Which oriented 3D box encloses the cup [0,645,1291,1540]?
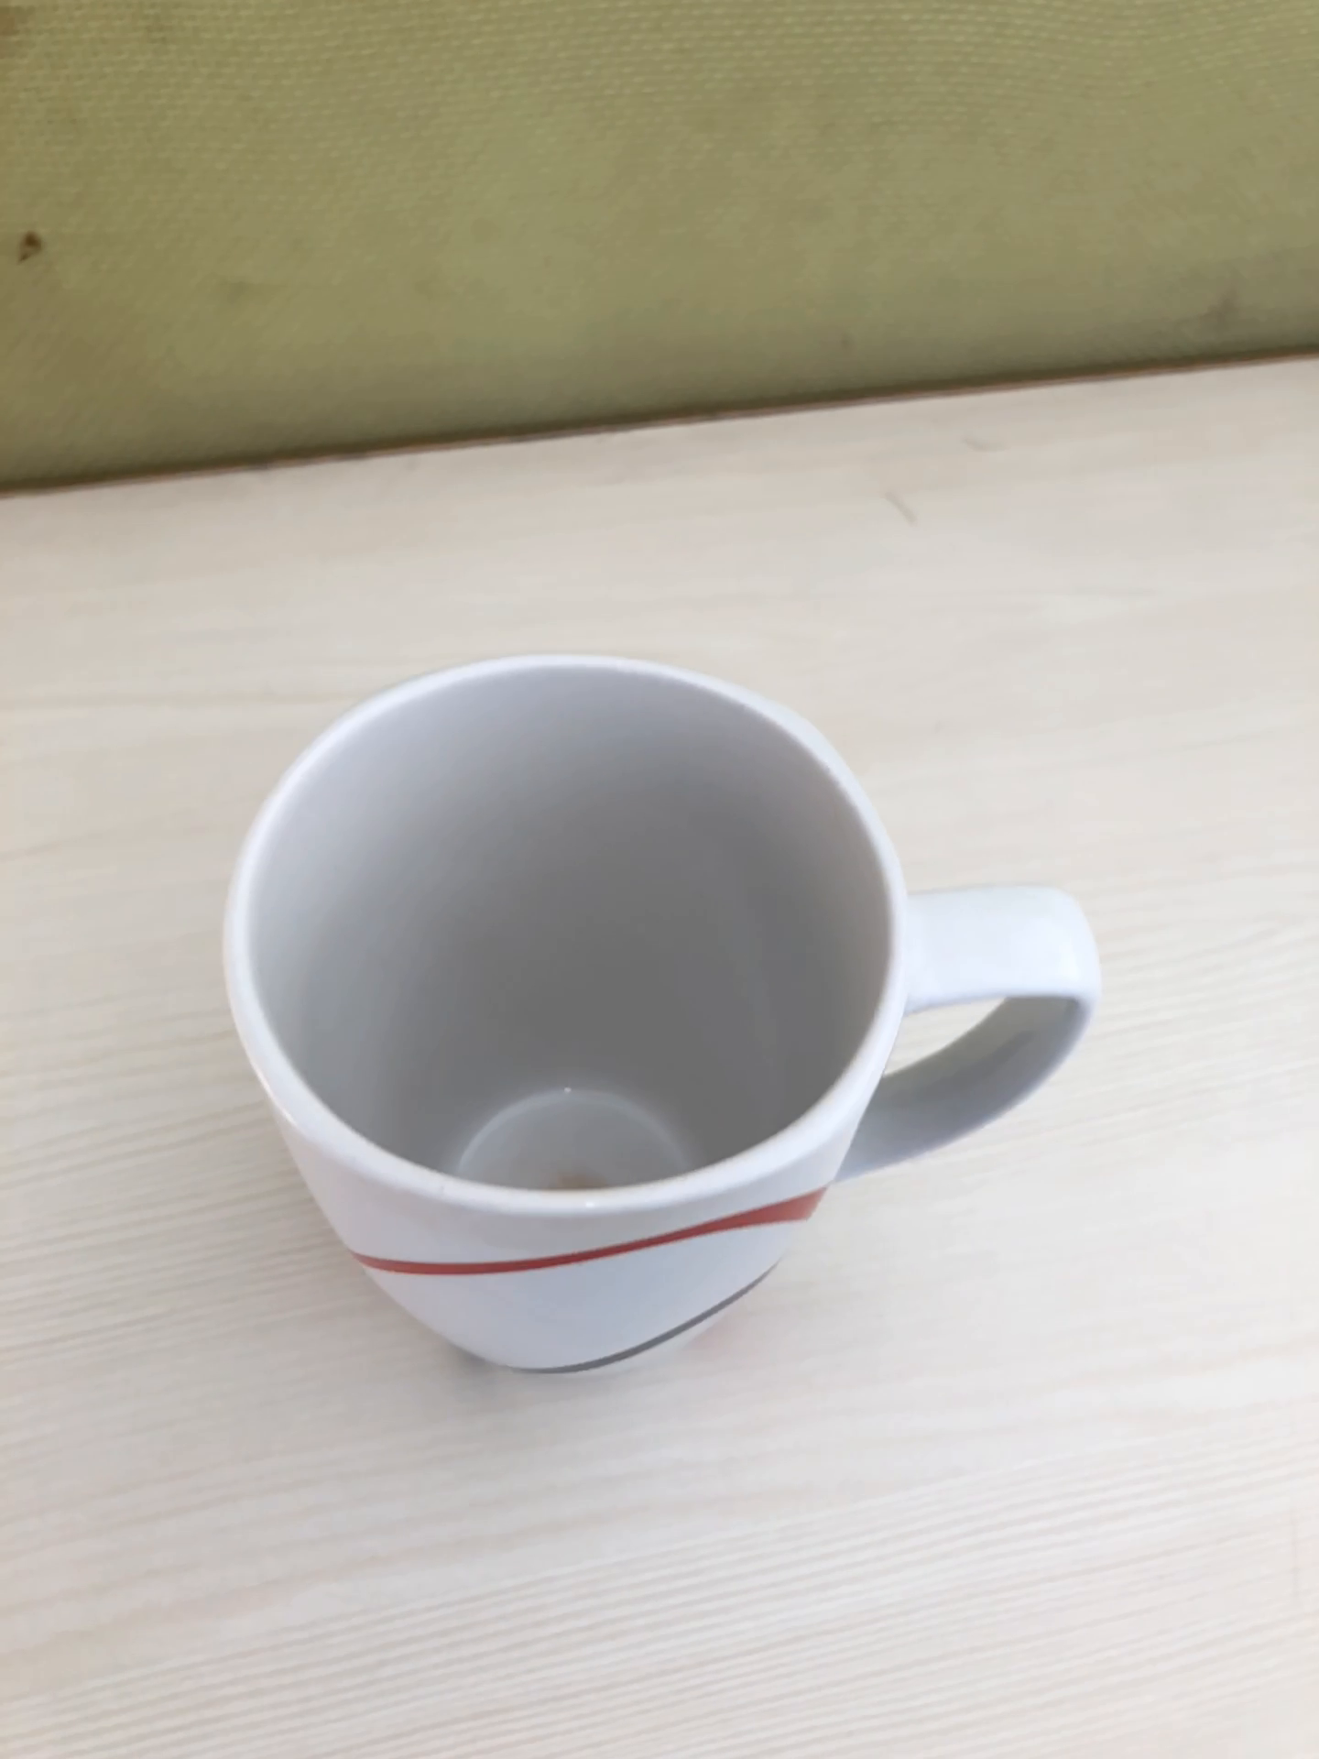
[{"bbox_3d":[-0.008,0.034,0.216,0.140,0.100,0.090,0,53,-3],"label":"cup"}]
